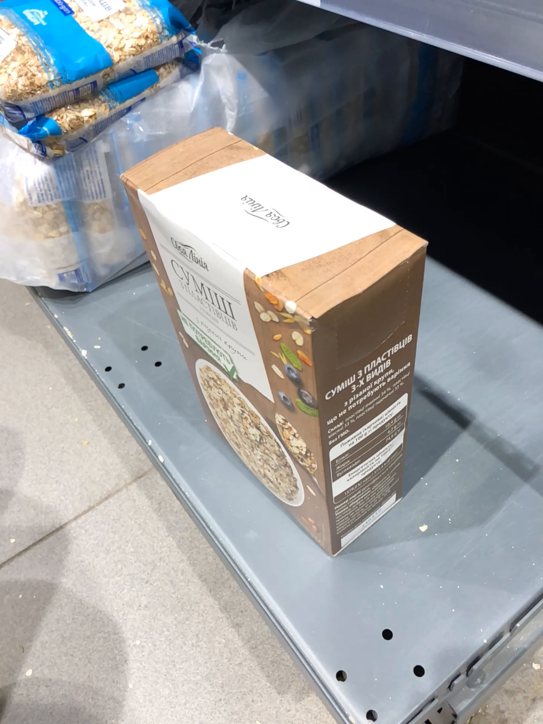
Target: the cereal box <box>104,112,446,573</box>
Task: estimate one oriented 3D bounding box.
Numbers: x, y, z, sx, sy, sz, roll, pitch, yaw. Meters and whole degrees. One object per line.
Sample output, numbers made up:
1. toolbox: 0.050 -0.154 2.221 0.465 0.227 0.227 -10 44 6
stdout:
1. cereal box: 0.004 -0.003 0.335 0.060 0.208 0.161 -34 53 -20
